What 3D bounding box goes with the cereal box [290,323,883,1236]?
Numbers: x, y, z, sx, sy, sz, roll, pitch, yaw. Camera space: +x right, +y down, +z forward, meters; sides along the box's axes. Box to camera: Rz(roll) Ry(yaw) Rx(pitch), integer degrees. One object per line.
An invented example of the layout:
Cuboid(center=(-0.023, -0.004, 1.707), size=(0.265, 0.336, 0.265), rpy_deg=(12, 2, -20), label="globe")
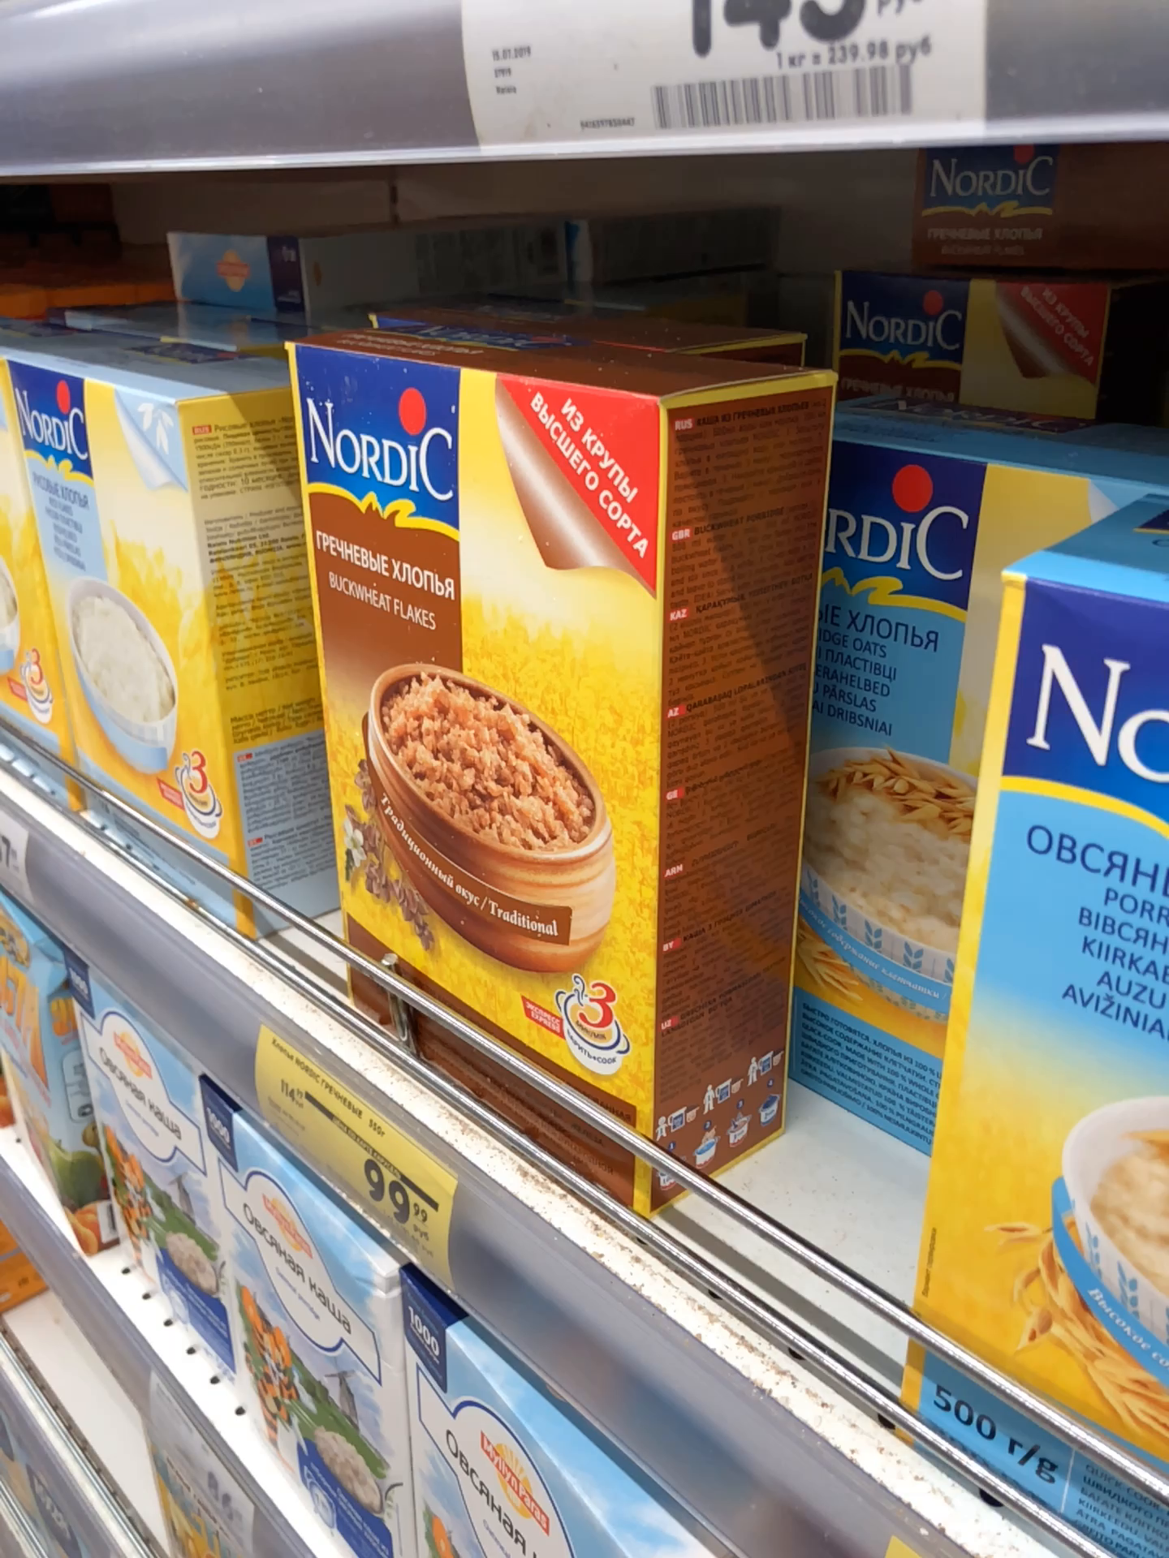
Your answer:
Cuboid(center=(-0.005, -0.010, 0.359), size=(0.070, 0.209, 0.140), rpy_deg=(-20, 30, -38), label="cereal box")
